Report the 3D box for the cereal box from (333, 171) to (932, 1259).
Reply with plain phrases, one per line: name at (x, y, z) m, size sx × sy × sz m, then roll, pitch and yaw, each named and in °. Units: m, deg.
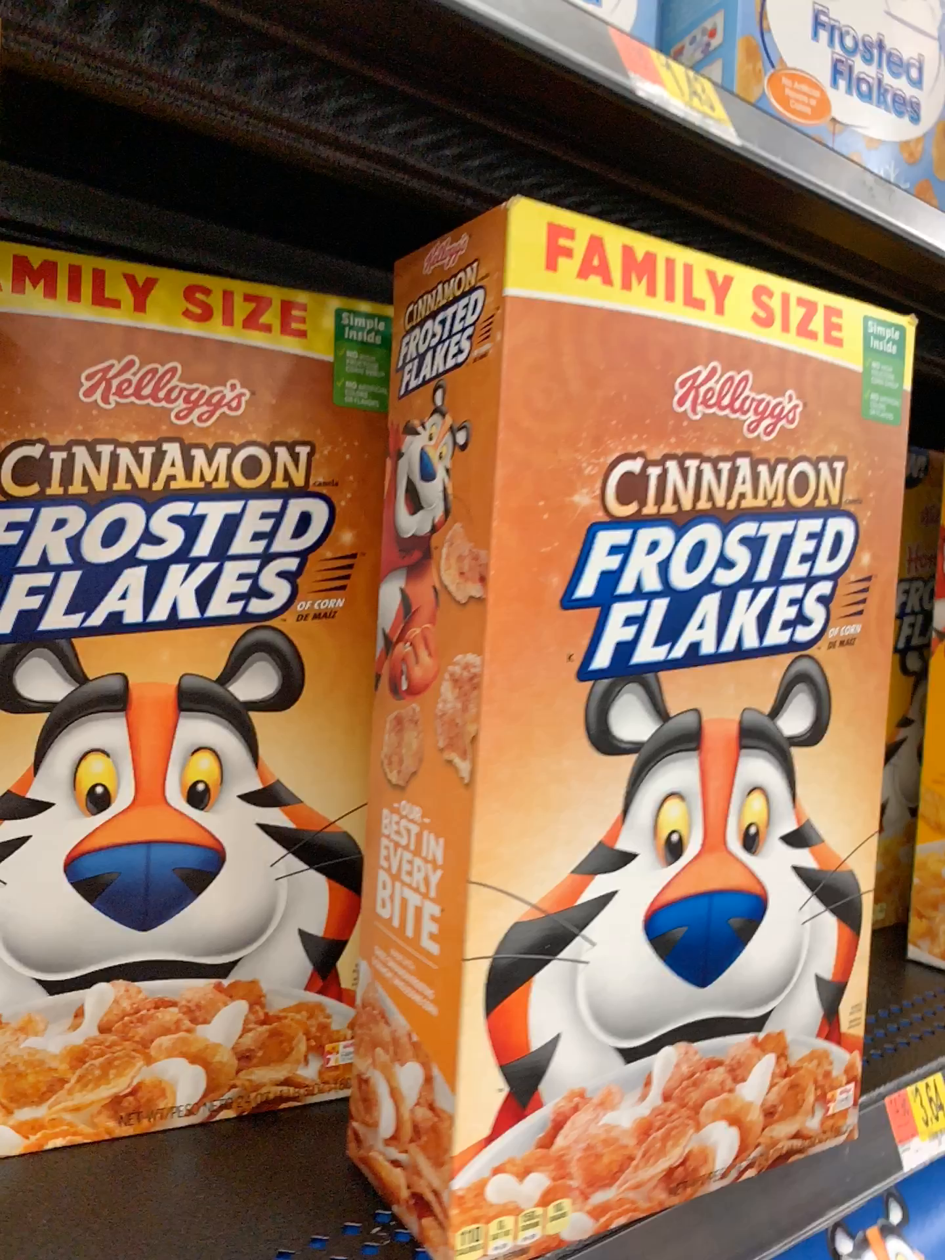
cereal box at (0.068, 0.037, 0.375) m, size 0.210 × 0.340 × 0.070 m, roll 3°, pitch 2°, yaw -32°
